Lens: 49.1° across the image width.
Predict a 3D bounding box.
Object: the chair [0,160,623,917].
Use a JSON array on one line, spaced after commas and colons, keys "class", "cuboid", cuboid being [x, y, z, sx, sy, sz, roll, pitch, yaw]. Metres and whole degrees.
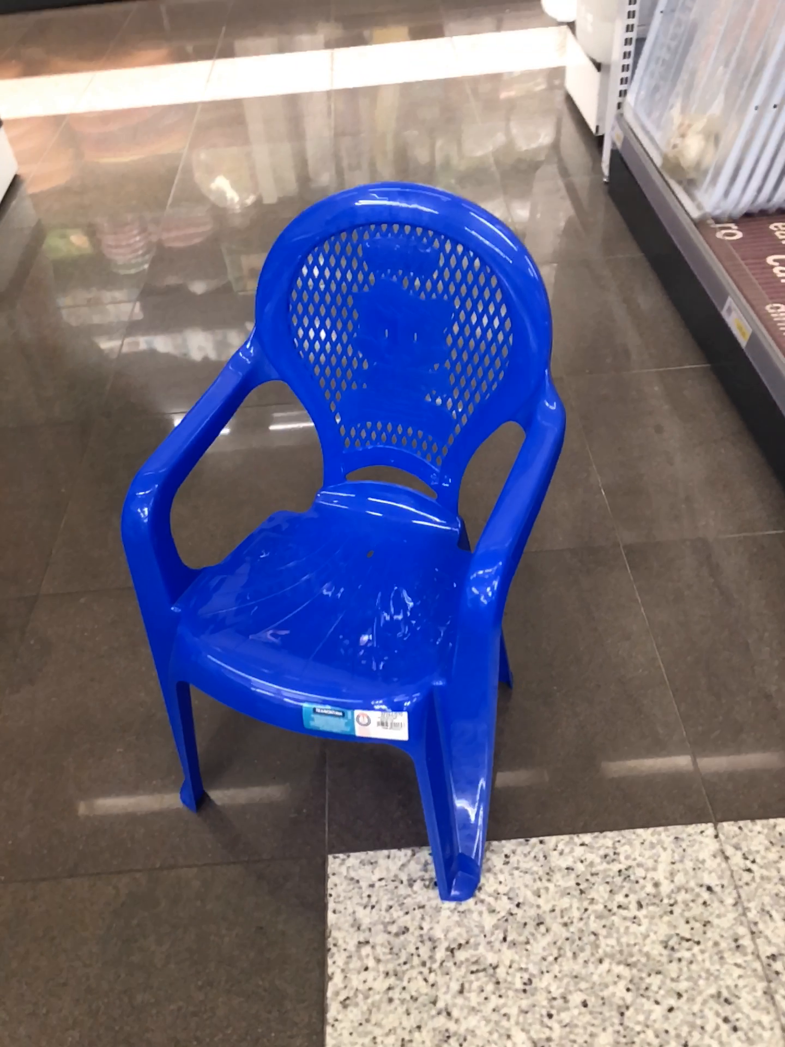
[{"class": "chair", "cuboid": [-0.031, 0.007, 0.804, 0.350, 0.507, 0.402, 13, 46, 19]}]
